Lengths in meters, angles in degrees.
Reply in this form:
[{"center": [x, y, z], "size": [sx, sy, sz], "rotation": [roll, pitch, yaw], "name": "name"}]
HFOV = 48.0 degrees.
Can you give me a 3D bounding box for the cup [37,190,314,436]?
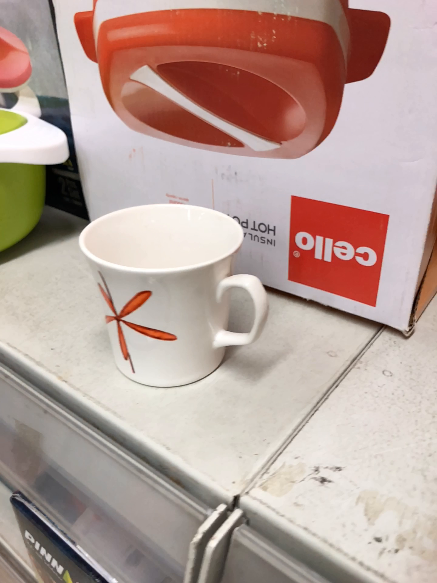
[{"center": [-0.017, 0.003, 0.234], "size": [0.100, 0.070, 0.070], "rotation": [14, 34, 25], "name": "cup"}]
